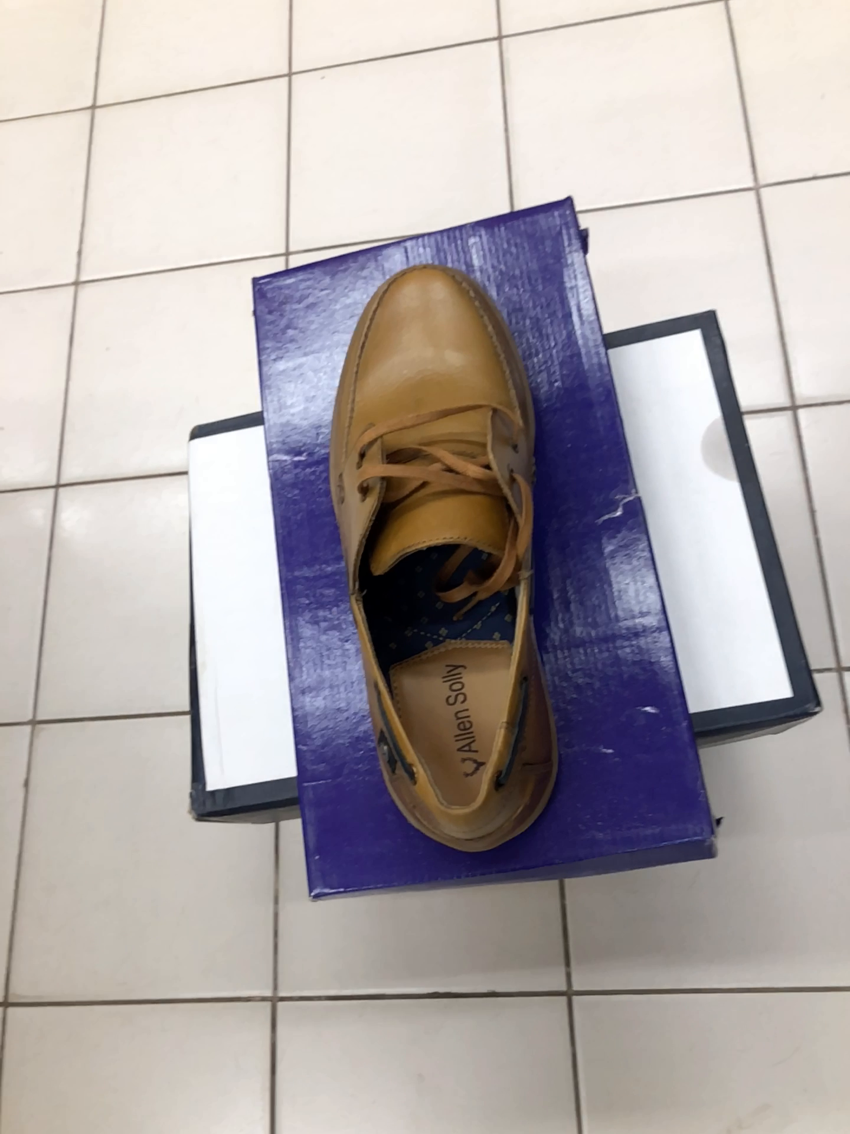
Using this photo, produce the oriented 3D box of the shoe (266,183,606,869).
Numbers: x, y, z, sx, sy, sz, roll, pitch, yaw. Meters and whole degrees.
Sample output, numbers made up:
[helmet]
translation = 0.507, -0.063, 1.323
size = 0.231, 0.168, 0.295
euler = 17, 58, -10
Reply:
[shoe]
translation = 0.005, -0.012, 0.406
size = 0.100, 0.110, 0.261
euler = -9, 72, 8
